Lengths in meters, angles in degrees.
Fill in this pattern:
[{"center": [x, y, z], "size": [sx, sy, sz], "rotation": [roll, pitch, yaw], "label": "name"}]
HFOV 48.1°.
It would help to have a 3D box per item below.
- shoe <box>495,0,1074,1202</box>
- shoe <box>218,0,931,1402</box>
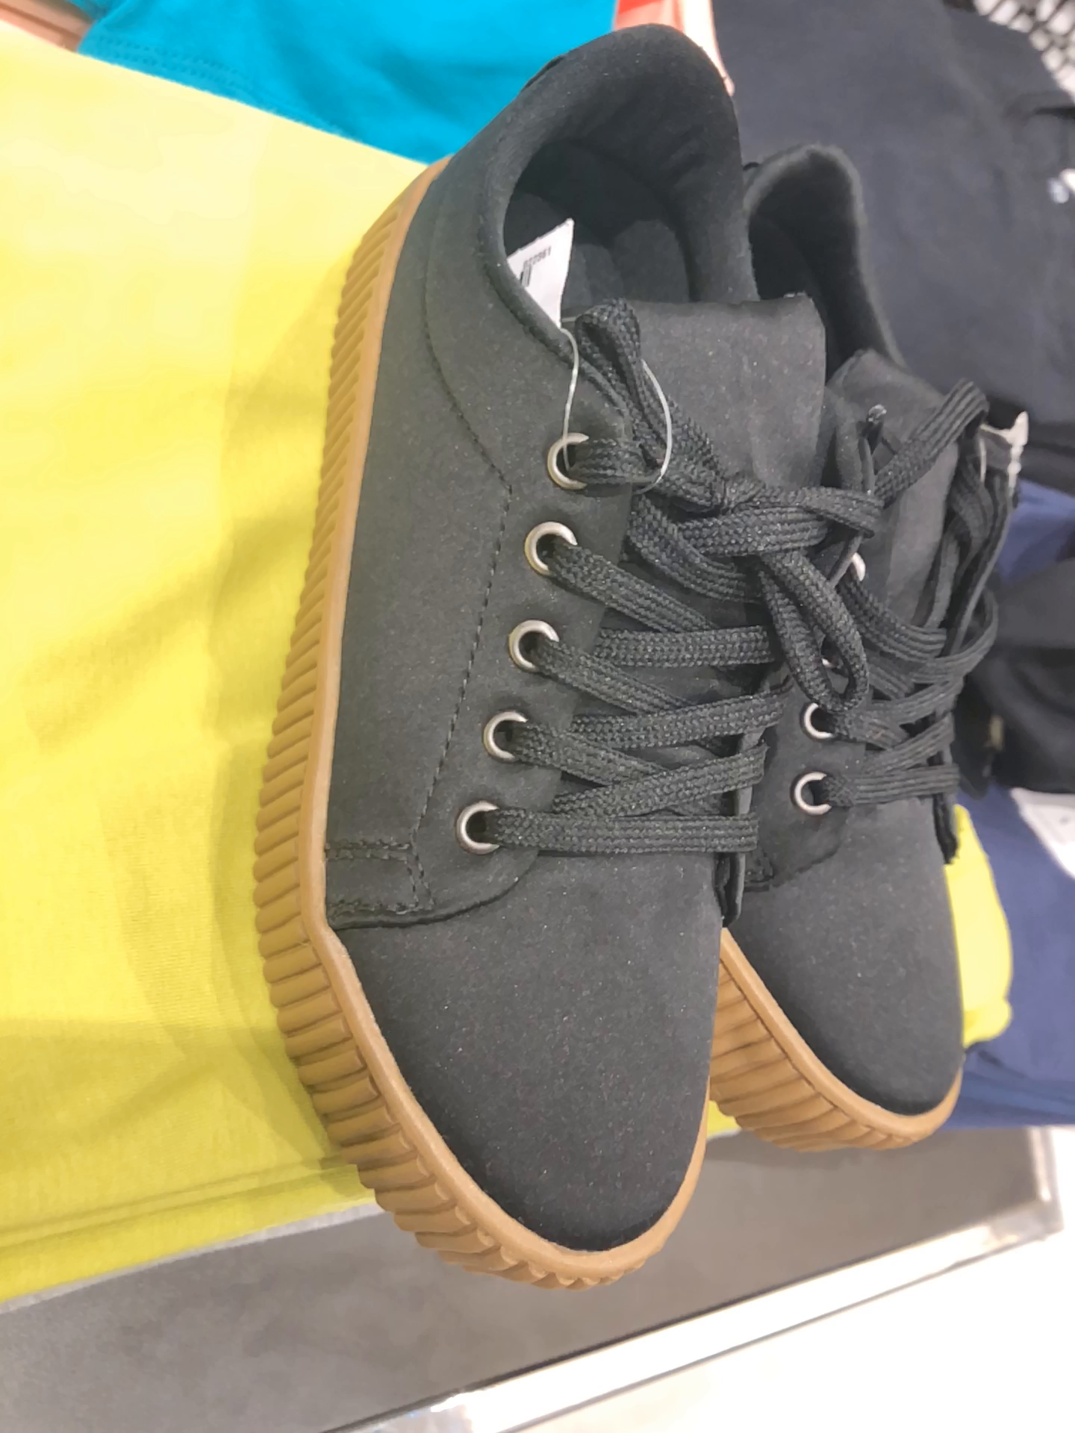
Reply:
[{"center": [0.062, -0.024, 0.288], "size": [0.091, 0.079, 0.240], "rotation": [2, 76, -38], "label": "shoe"}, {"center": [-0.001, -0.016, 0.230], "size": [0.091, 0.079, 0.230], "rotation": [7, 73, -37], "label": "shoe"}]
